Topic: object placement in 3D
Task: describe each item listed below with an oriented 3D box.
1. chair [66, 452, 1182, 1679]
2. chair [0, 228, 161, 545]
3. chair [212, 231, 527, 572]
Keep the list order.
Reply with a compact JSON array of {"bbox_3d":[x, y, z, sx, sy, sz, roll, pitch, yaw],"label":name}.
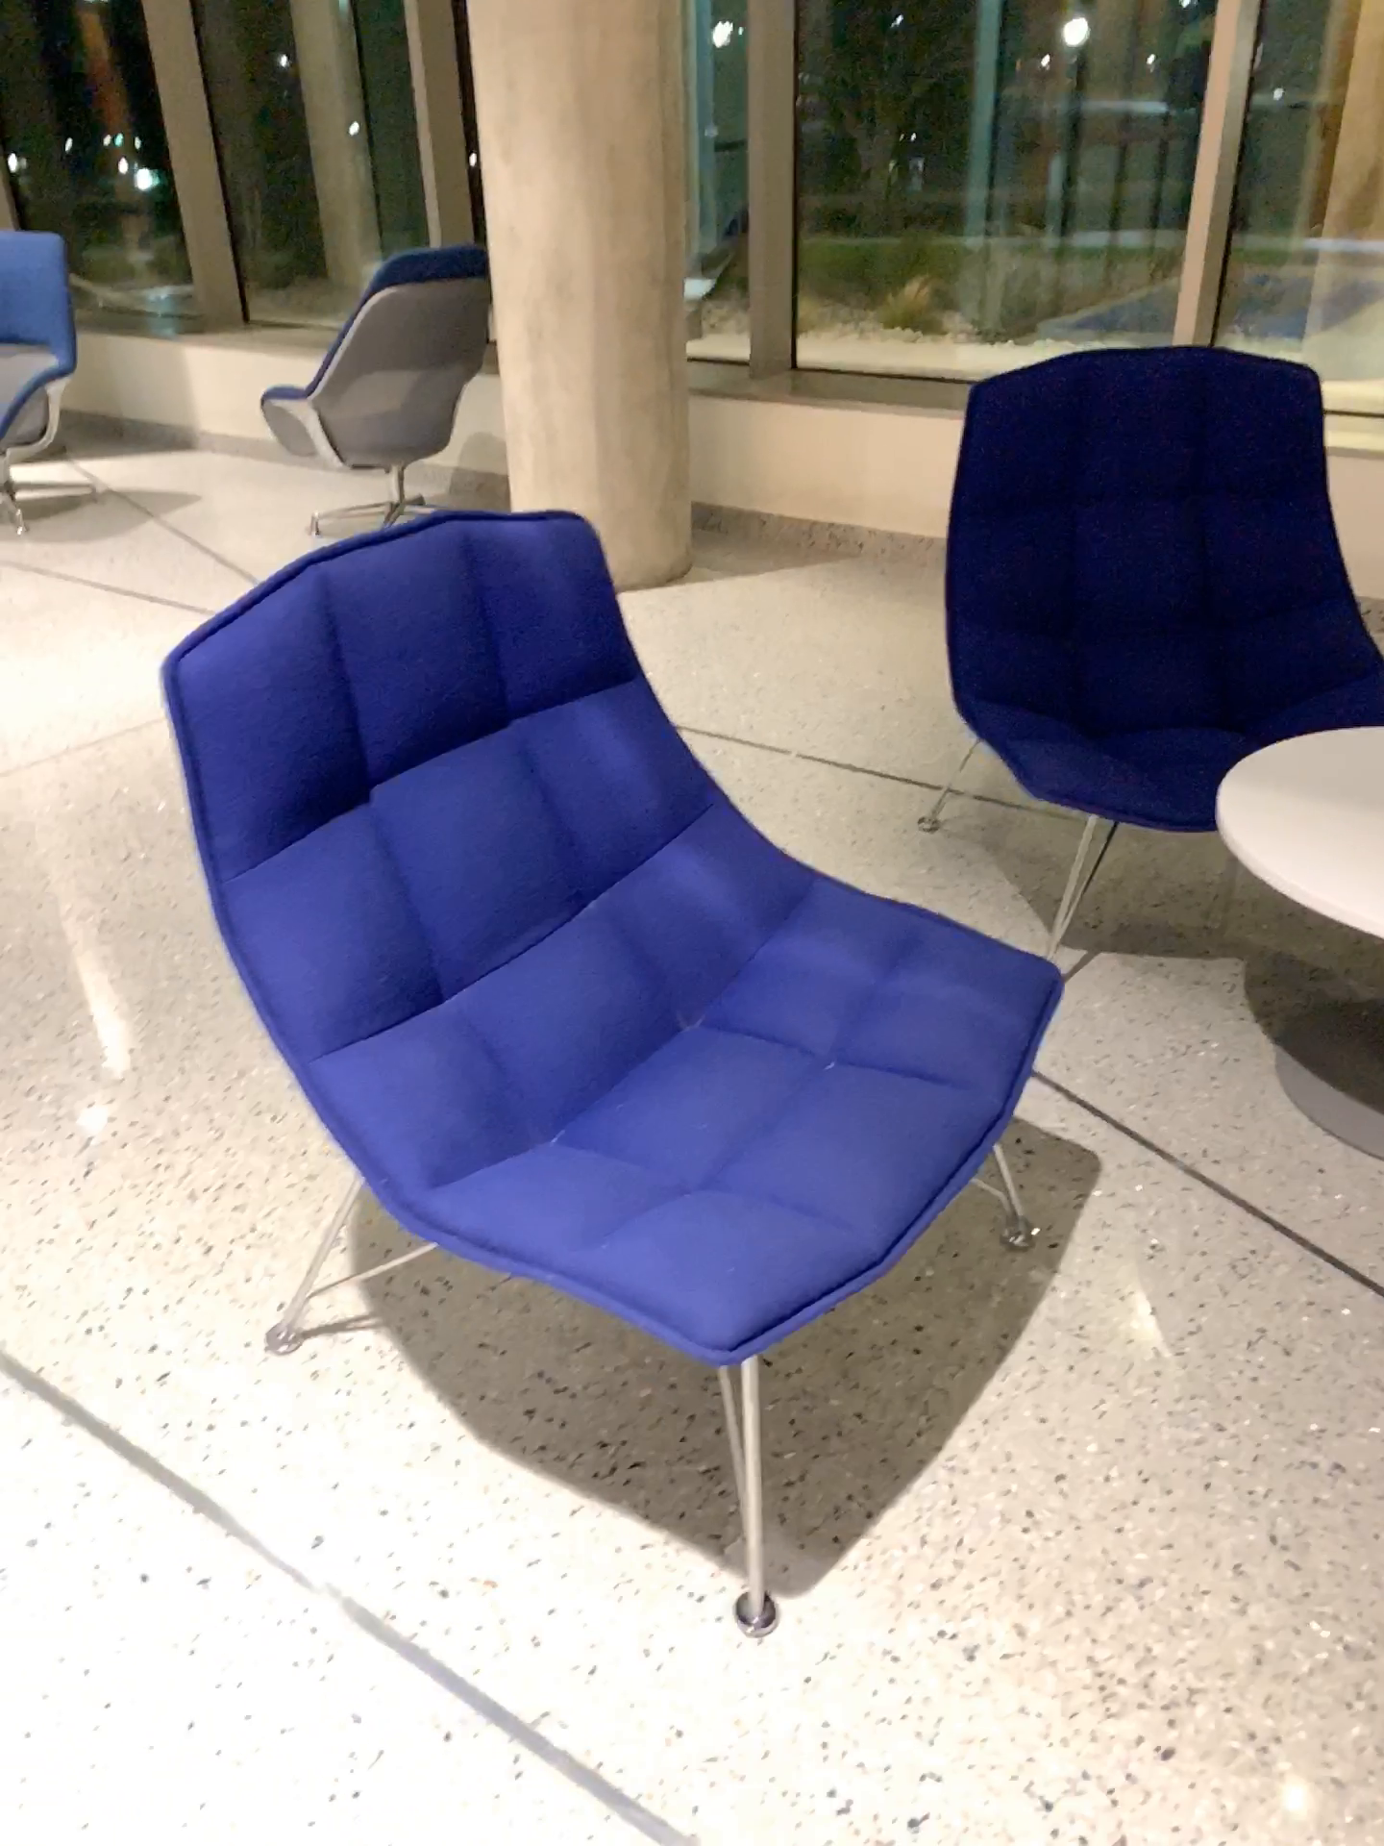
[{"bbox_3d":[-0.020,0.052,1.628,0.782,0.932,0.812,17,35,30],"label":"chair"},{"bbox_3d":[-2.654,-2.028,5.275,0.781,0.972,0.765,9,31,18],"label":"chair"},{"bbox_3d":[-1.112,-1.861,4.973,0.773,0.962,0.643,24,38,35],"label":"chair"}]
